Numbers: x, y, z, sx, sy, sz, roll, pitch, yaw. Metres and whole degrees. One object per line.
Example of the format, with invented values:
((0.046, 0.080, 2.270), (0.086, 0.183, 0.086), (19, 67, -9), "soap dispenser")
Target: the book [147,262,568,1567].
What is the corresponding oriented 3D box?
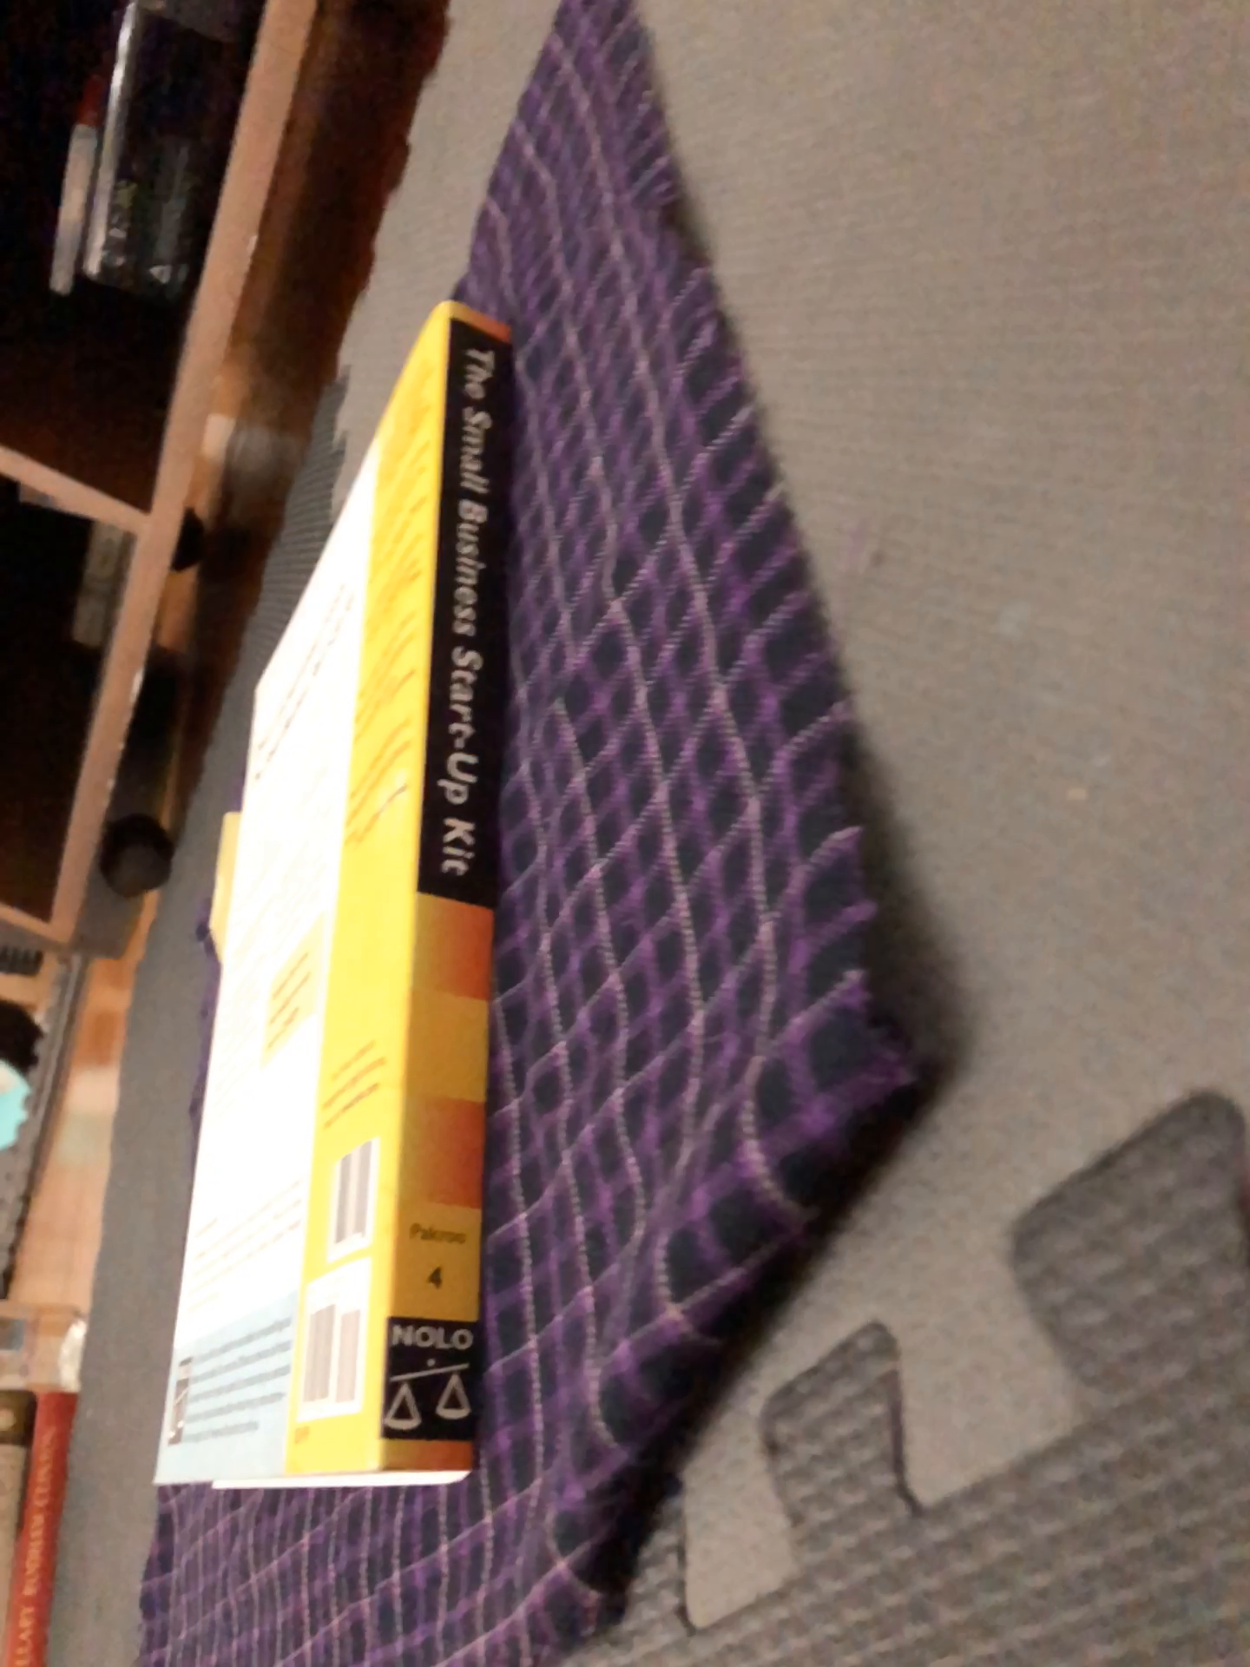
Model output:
((-0.081, 0.033, 0.406), (0.231, 0.030, 0.310), (-41, 42, 54), "book")
